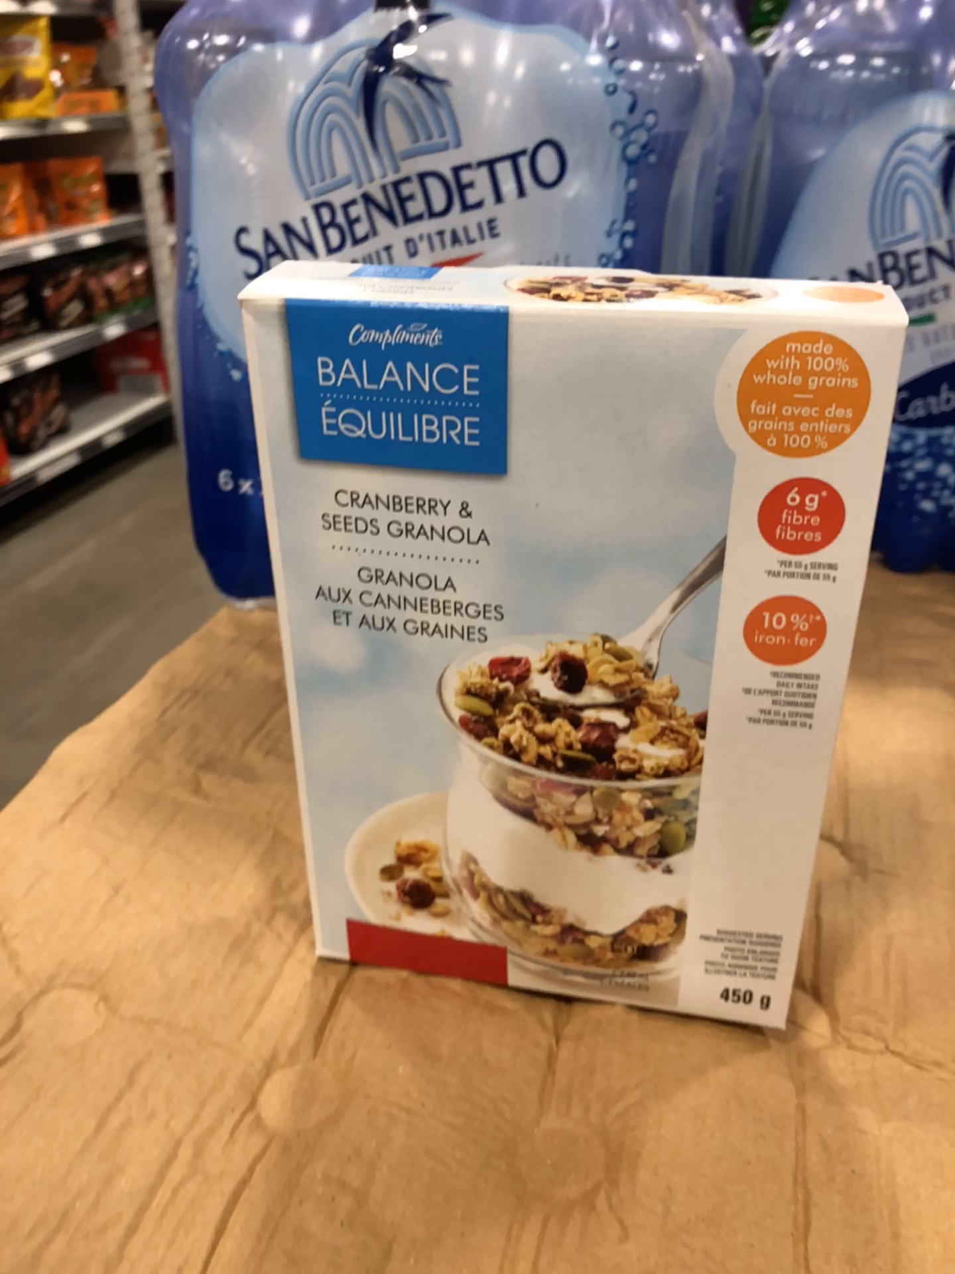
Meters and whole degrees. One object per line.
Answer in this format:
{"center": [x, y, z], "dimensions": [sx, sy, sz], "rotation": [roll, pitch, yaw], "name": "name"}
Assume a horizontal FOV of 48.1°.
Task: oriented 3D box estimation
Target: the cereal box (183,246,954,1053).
{"center": [0.022, 0.009, 0.321], "dimensions": [0.180, 0.229, 0.050], "rotation": [5, 28, 12], "name": "cereal box"}
